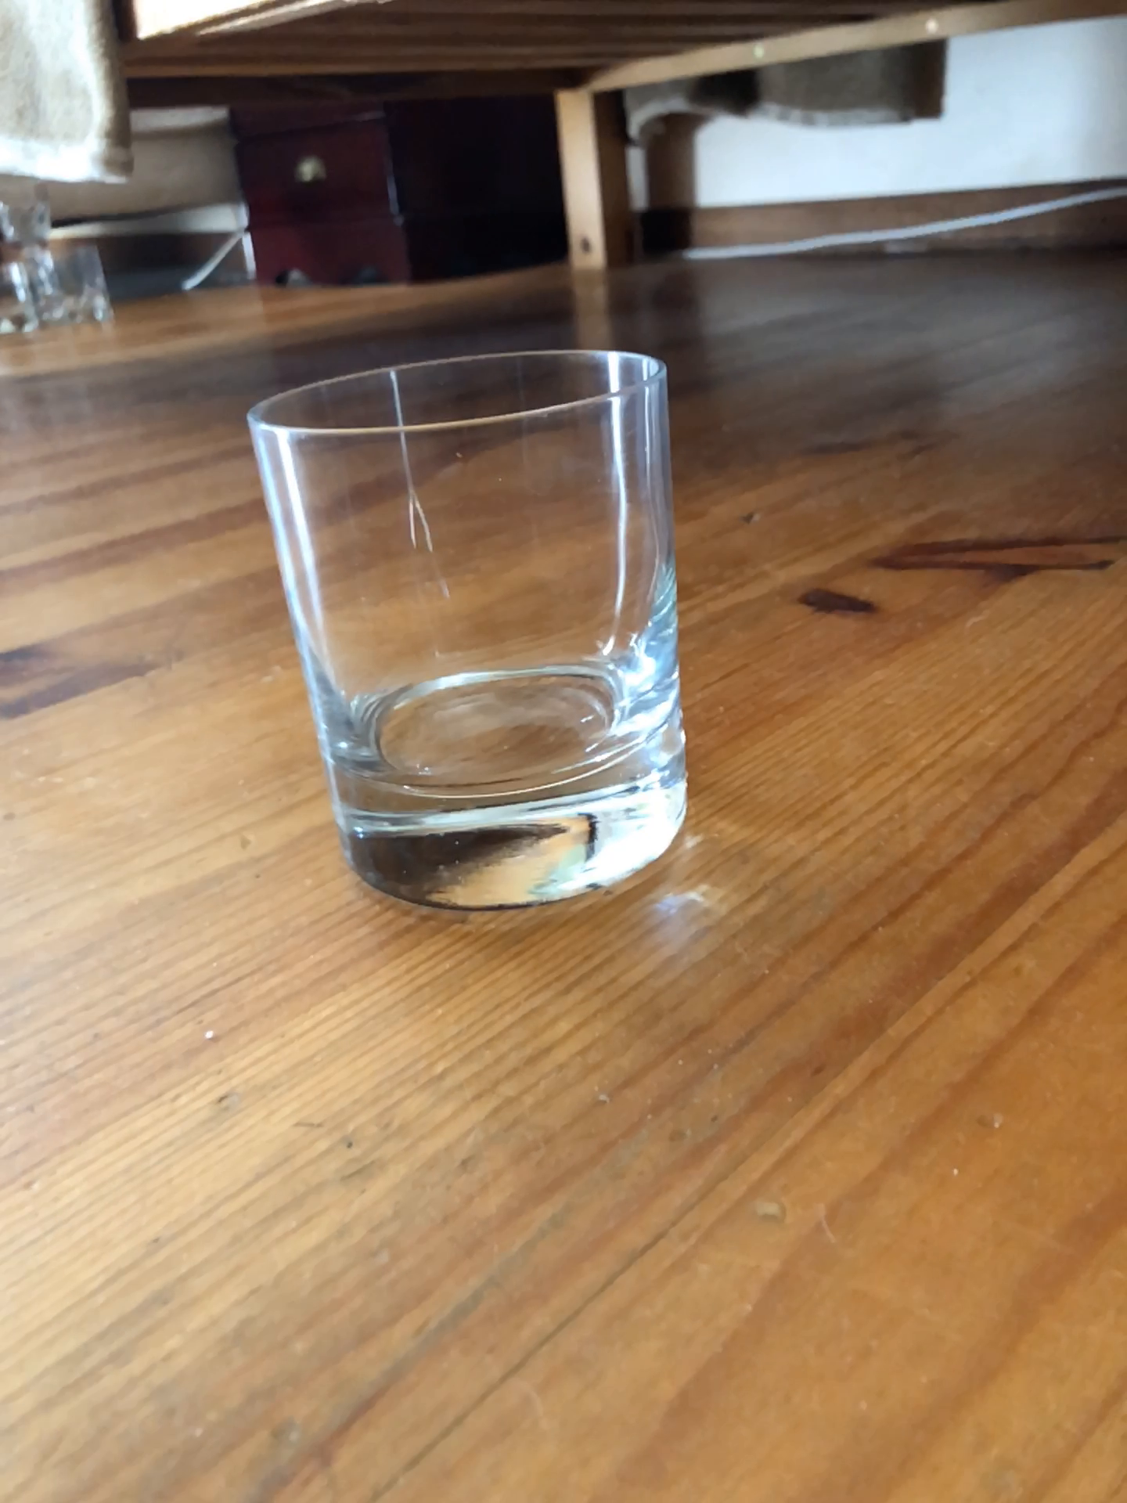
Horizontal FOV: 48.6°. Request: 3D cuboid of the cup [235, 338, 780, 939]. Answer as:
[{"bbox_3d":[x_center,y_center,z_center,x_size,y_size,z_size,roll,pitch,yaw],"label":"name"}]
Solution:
[{"bbox_3d":[-0.012,-0.029,0.256,0.087,0.090,0.083,-5,24,2],"label":"cup"}]
